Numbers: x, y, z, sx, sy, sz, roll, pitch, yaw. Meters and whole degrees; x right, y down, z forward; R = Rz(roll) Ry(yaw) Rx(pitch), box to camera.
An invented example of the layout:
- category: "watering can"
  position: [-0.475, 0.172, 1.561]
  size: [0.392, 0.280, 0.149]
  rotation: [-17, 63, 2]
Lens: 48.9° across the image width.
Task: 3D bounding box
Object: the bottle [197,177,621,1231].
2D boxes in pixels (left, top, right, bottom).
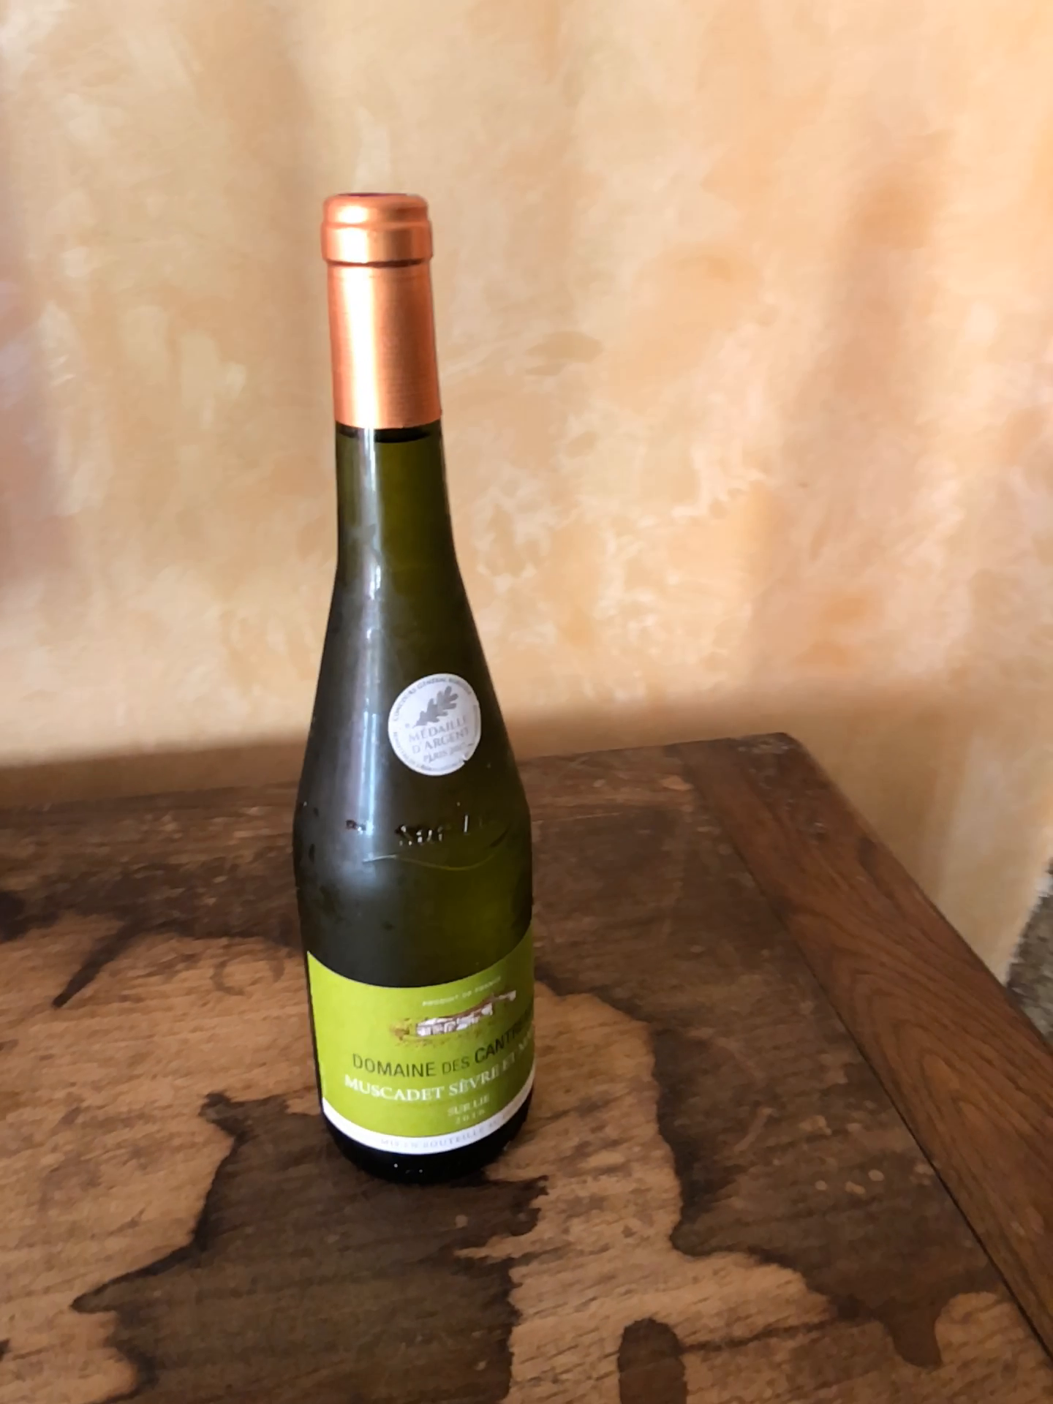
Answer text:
- category: "bottle"
  position: [-0.036, 0.010, 0.356]
  size: [0.090, 0.308, 0.080]
  rotation: [-7, 27, -16]
